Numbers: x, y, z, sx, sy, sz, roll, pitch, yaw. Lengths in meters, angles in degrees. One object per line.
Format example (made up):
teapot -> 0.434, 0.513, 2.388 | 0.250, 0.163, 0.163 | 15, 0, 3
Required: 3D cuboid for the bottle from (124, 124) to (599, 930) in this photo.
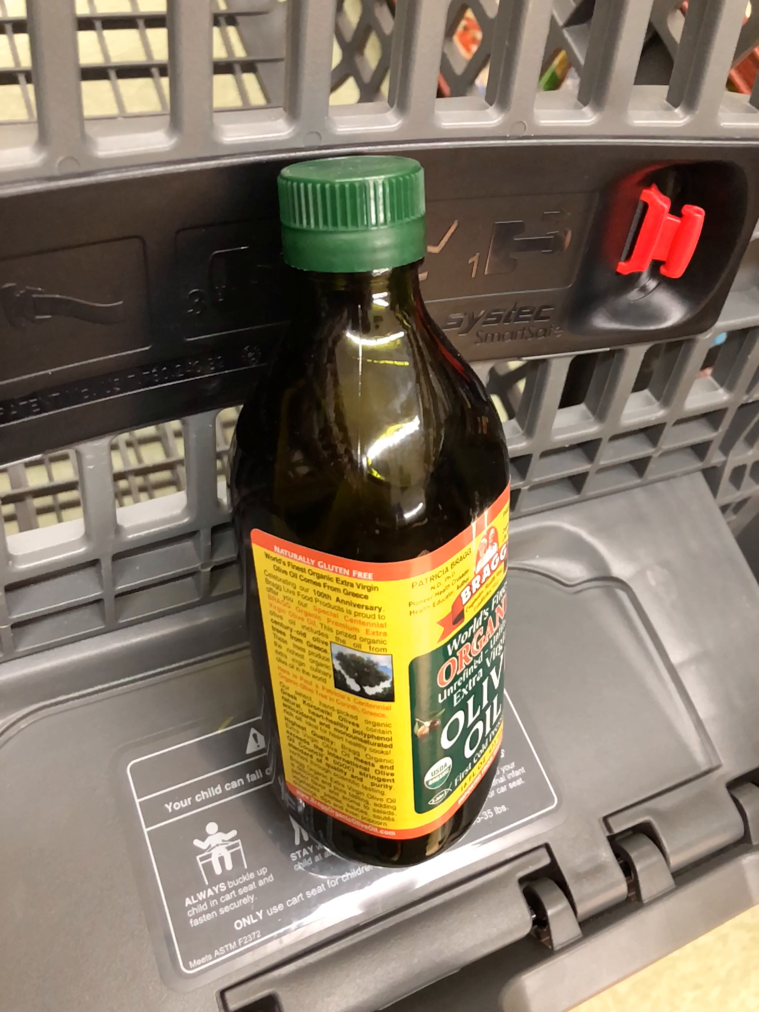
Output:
bottle -> 0.001, 0.007, 0.230 | 0.070, 0.192, 0.080 | 17, 34, 28
